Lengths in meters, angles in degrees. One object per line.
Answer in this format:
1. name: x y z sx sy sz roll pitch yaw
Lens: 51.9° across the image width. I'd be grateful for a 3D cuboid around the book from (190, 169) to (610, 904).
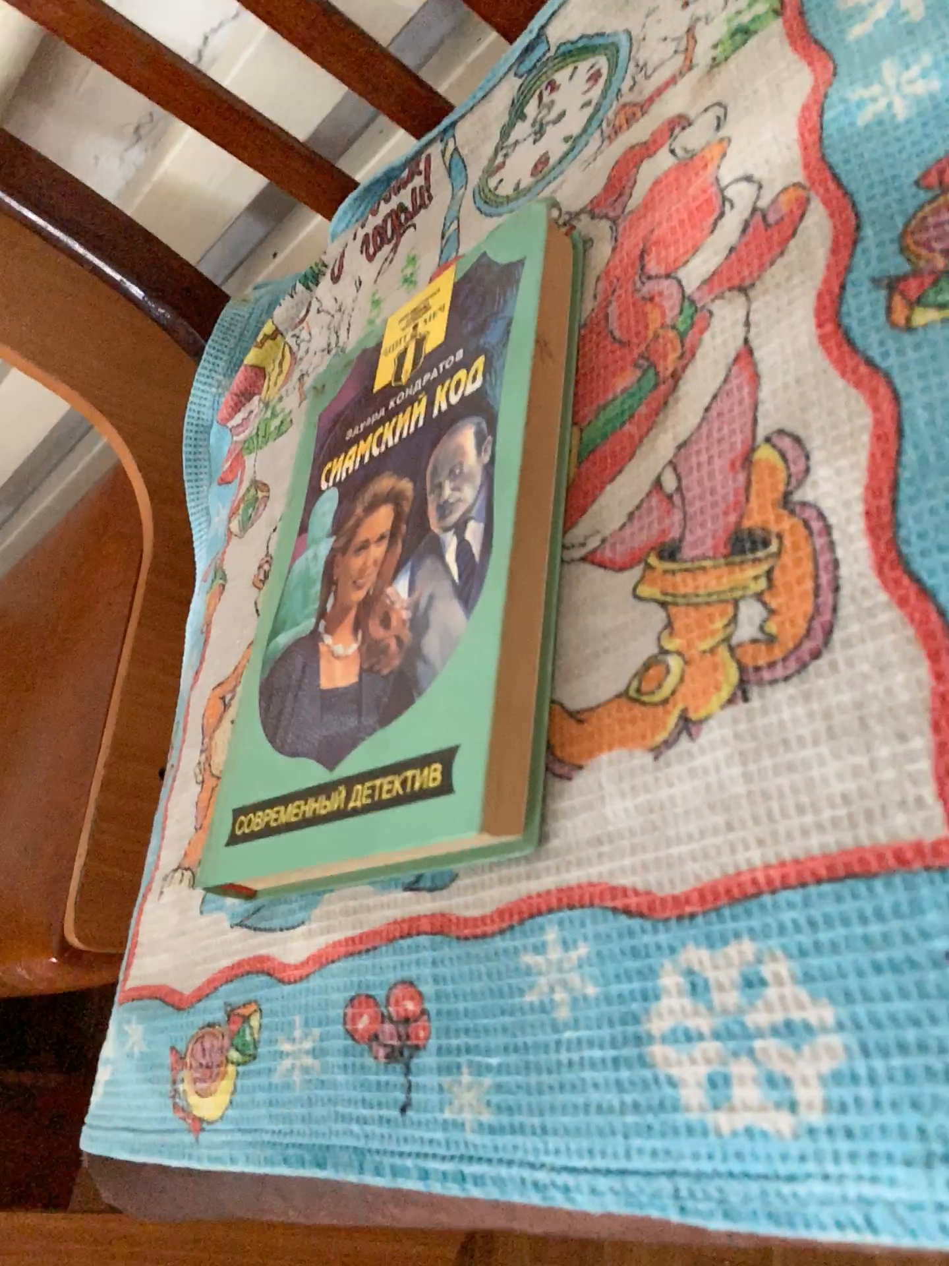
1. book: -0.023 -0.025 0.301 0.141 0.023 0.201 -22 52 45
